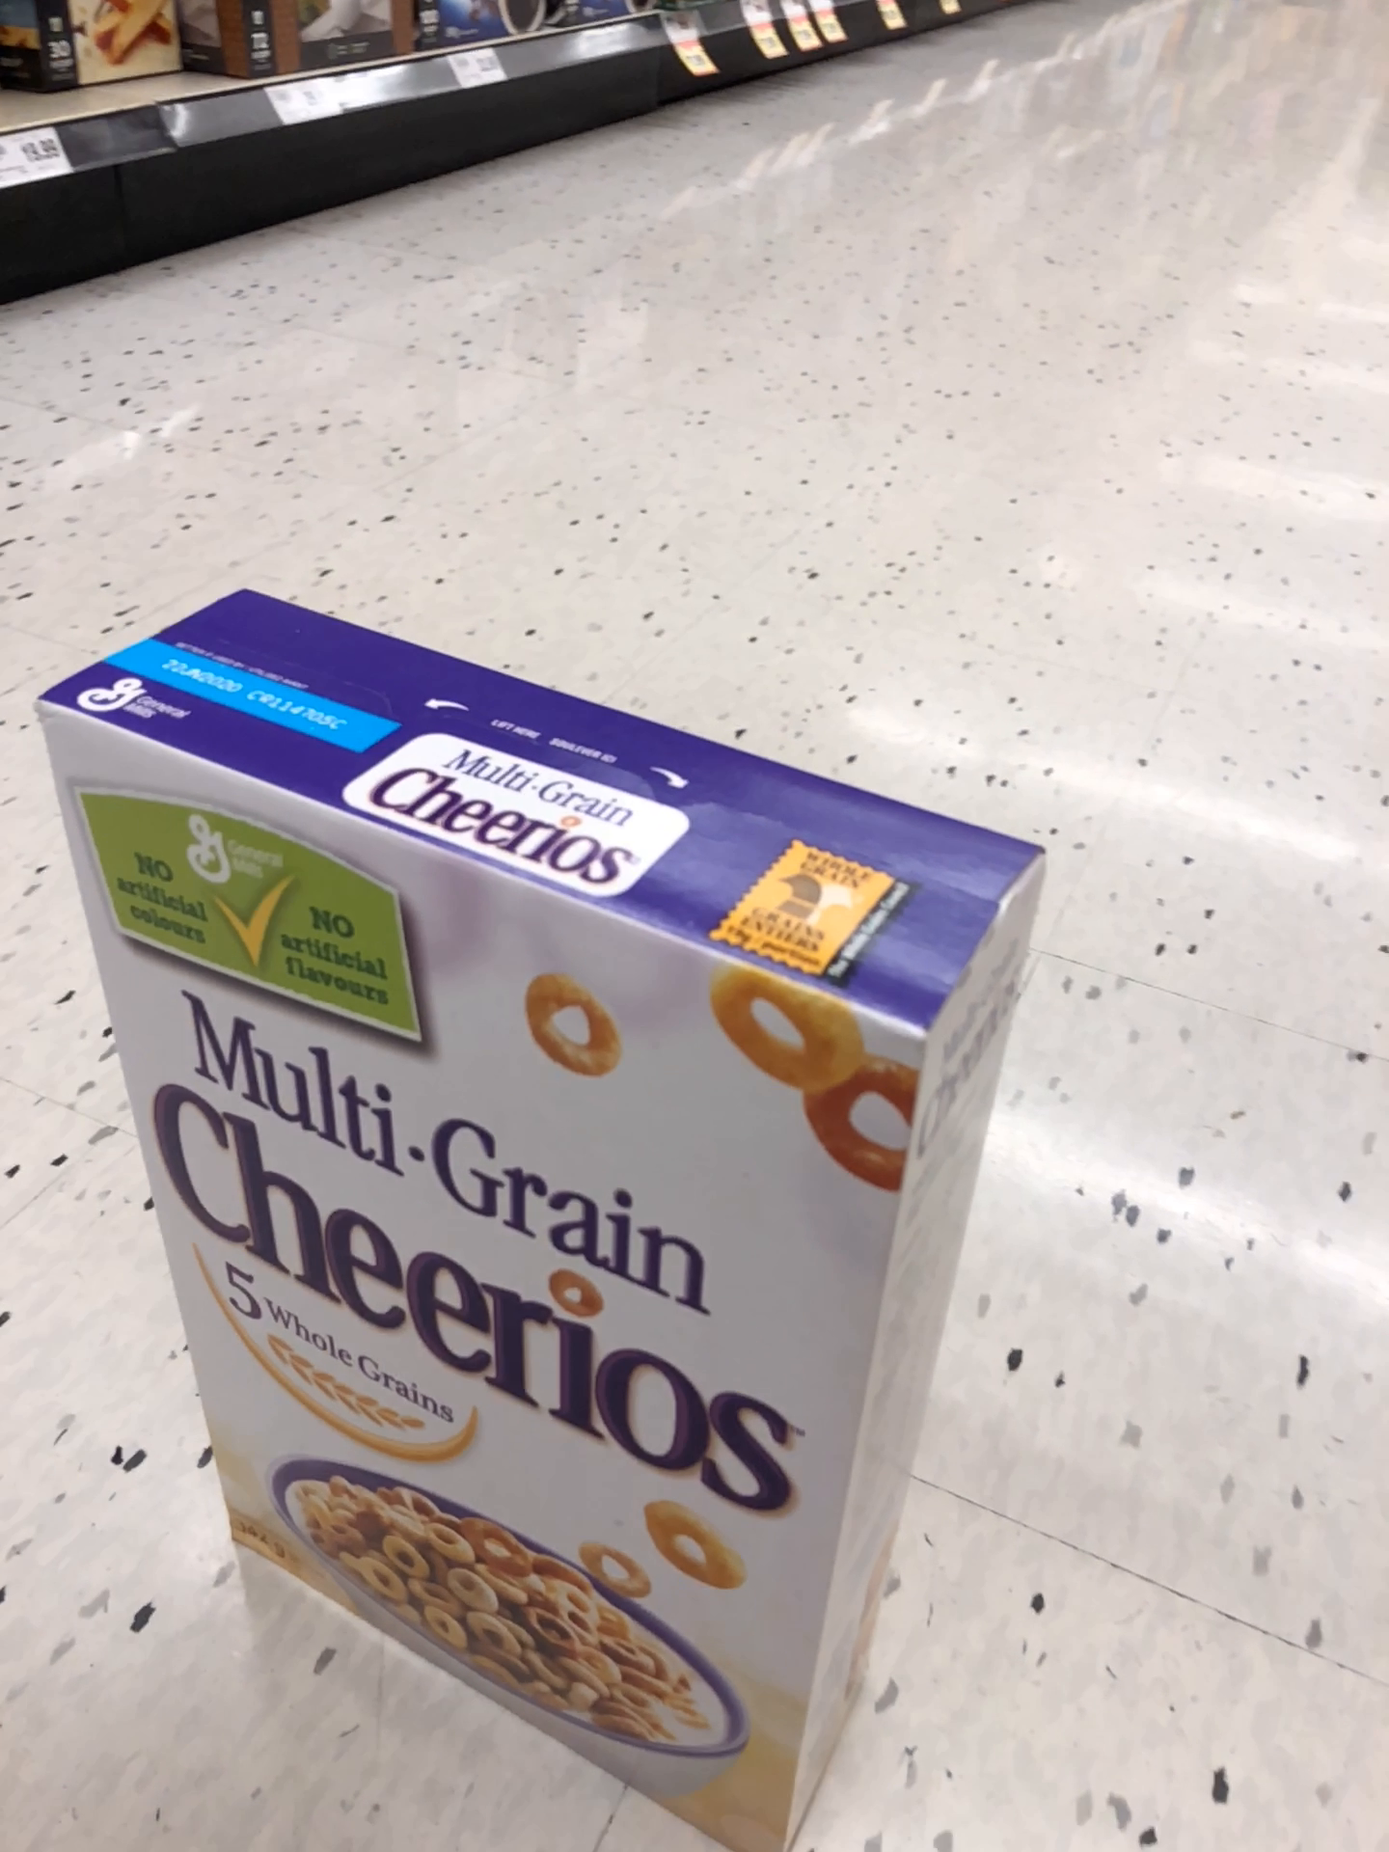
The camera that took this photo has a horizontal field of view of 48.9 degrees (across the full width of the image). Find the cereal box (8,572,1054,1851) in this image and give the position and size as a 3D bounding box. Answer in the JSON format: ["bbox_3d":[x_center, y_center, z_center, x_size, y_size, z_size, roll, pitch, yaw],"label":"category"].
[{"bbox_3d":[-0.043,0.092,0.373,0.190,0.308,0.060,20,40,21],"label":"cereal box"}]
